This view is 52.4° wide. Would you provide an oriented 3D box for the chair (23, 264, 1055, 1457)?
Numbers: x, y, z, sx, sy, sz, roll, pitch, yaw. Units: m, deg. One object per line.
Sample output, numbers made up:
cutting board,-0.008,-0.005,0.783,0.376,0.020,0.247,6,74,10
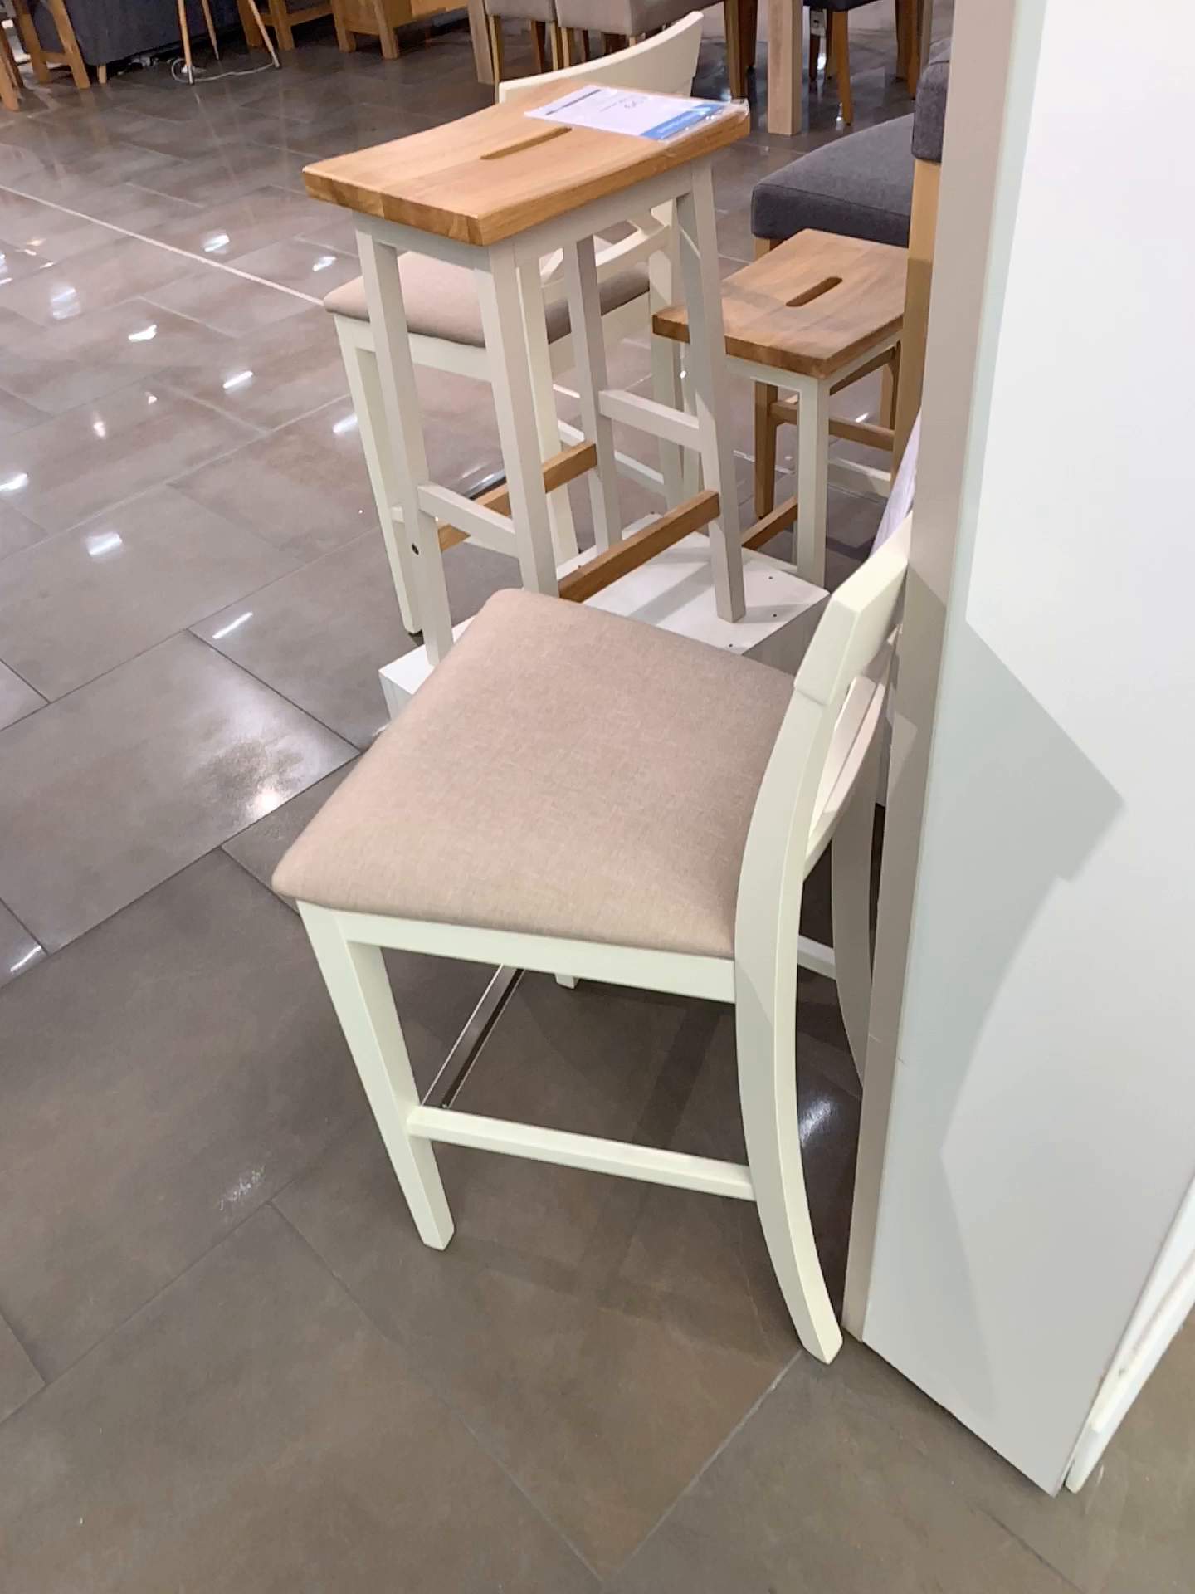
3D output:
chair,0.028,0.093,1.110,0.538,0.938,0.452,13,46,21
